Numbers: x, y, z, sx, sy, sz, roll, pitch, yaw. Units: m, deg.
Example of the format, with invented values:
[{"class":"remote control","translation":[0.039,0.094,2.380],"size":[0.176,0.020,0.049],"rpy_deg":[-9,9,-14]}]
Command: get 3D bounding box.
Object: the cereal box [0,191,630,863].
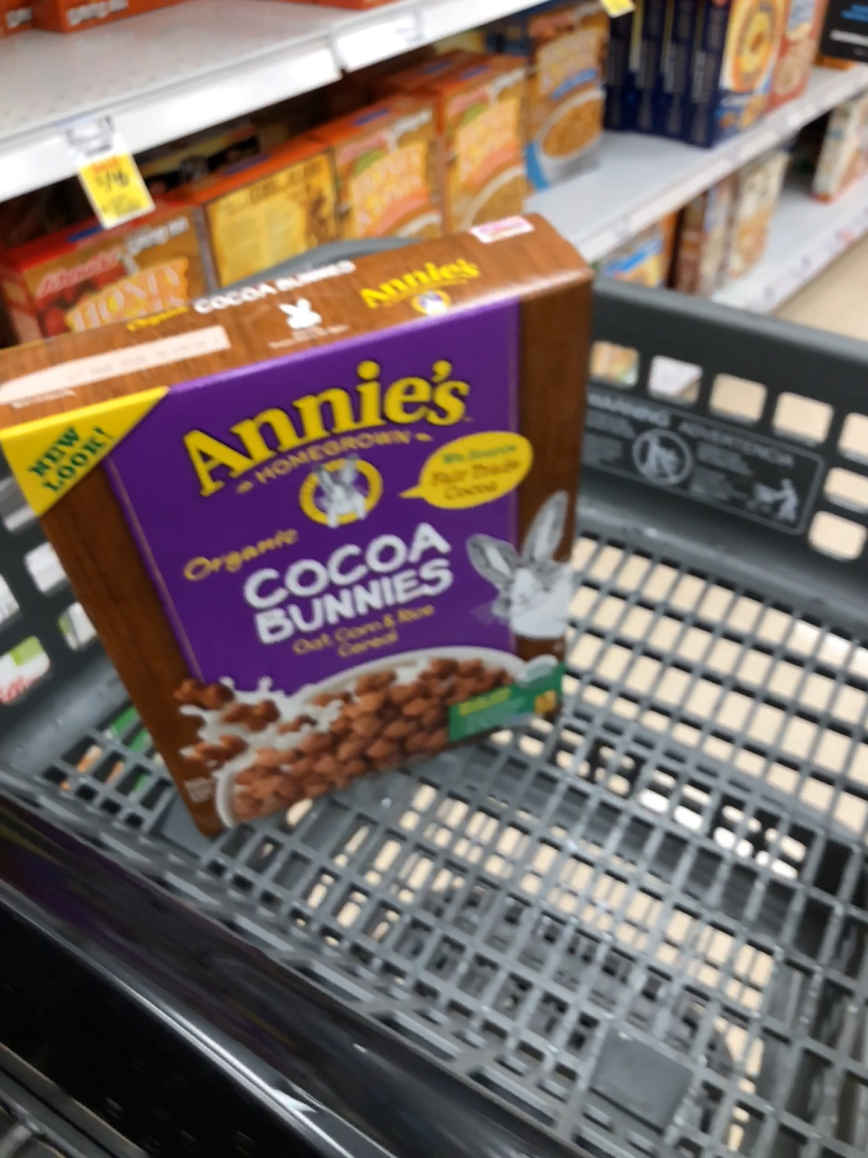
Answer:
[{"class":"cereal box","translation":[-0.034,-0.004,0.385],"size":[0.200,0.240,0.050],"rpy_deg":[-18,47,-12]}]
